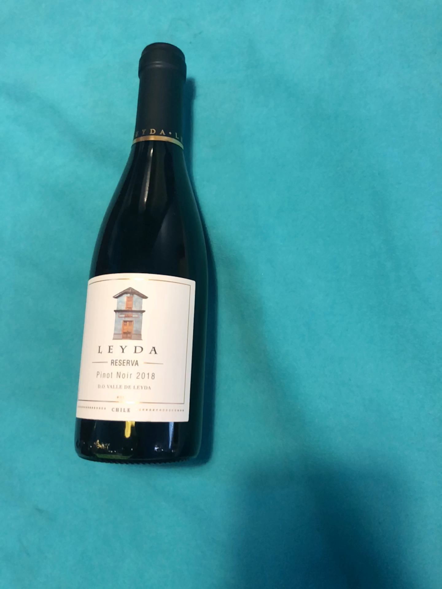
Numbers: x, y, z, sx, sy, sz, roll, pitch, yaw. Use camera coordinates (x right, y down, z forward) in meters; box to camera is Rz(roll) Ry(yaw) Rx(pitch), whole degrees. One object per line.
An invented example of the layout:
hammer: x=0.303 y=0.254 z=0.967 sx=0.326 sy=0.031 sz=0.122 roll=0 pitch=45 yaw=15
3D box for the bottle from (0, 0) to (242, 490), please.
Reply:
bottle: x=-0.041 y=-0.049 z=0.253 sx=0.070 sy=0.080 sz=0.260 roll=2 pitch=81 yaw=16
